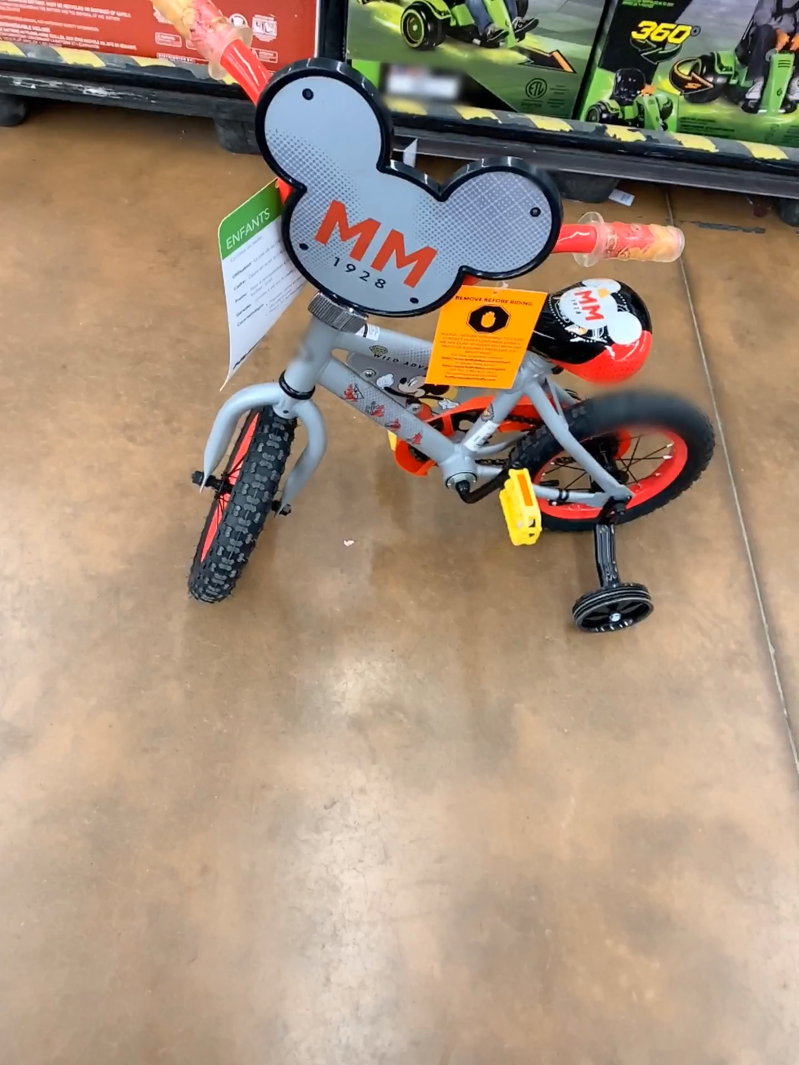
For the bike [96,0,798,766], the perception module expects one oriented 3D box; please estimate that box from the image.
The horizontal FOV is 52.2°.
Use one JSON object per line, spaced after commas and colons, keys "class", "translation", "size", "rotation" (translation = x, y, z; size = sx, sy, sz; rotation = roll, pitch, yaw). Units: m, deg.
{"class": "bike", "translation": [0.066, -0.164, 0.918], "size": [0.641, 0.689, 0.453], "rotation": [-13, 59, -12]}
